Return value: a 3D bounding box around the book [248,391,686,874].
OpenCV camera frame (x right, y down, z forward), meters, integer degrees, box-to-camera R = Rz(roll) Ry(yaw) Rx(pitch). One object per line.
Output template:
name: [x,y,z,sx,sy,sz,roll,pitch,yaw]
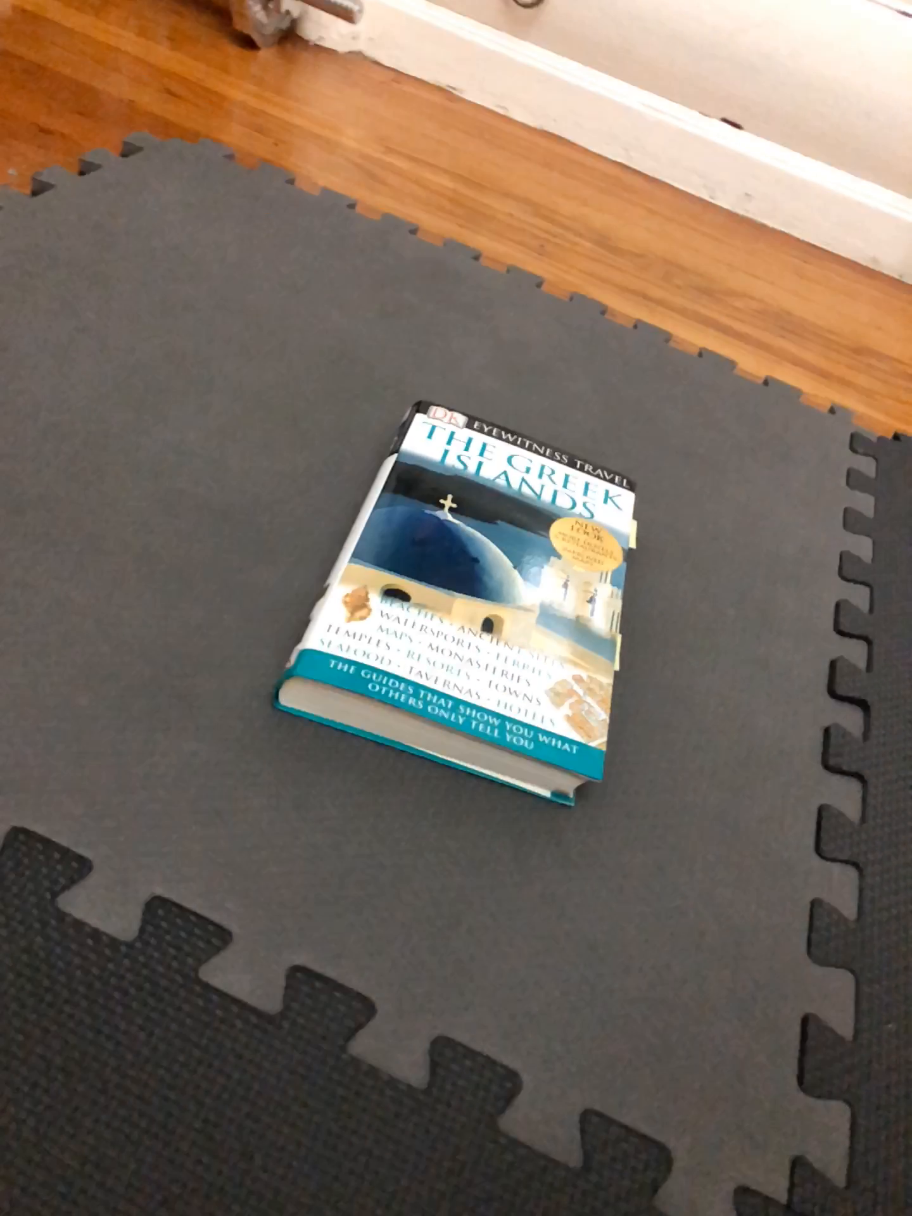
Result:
book: [0.023,-0.008,0.477,0.160,0.030,0.241,20,41,0]
